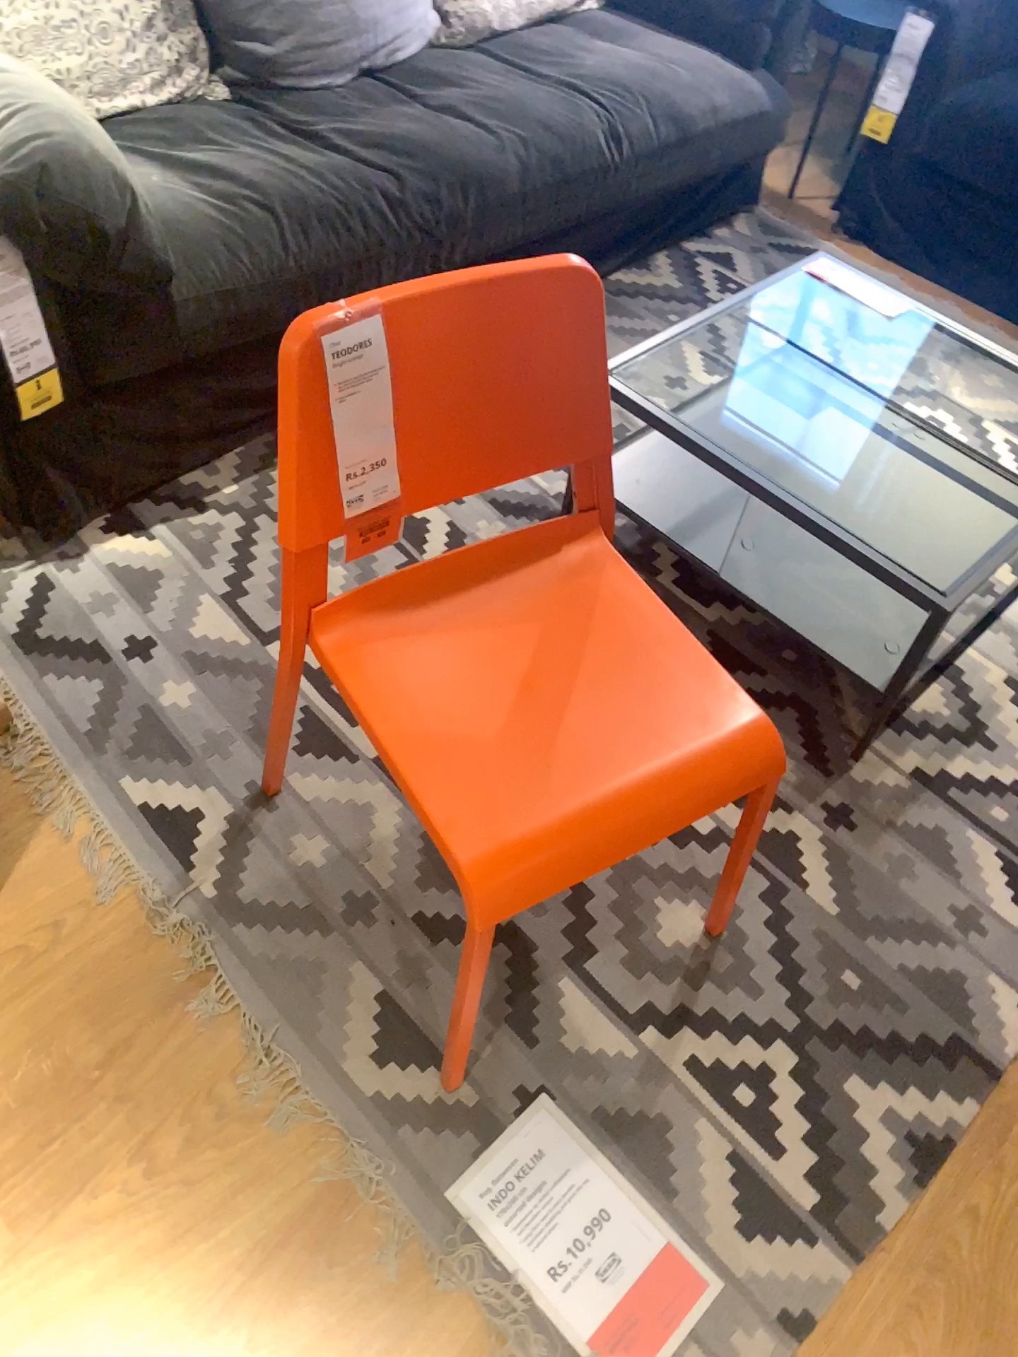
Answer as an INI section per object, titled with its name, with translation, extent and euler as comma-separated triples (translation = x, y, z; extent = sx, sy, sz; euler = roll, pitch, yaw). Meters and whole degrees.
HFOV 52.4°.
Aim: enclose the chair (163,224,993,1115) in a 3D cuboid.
[chair]
translation = 0.010, 0.002, 1.215
extent = 0.521, 0.728, 0.581
euler = -23, 57, -24
